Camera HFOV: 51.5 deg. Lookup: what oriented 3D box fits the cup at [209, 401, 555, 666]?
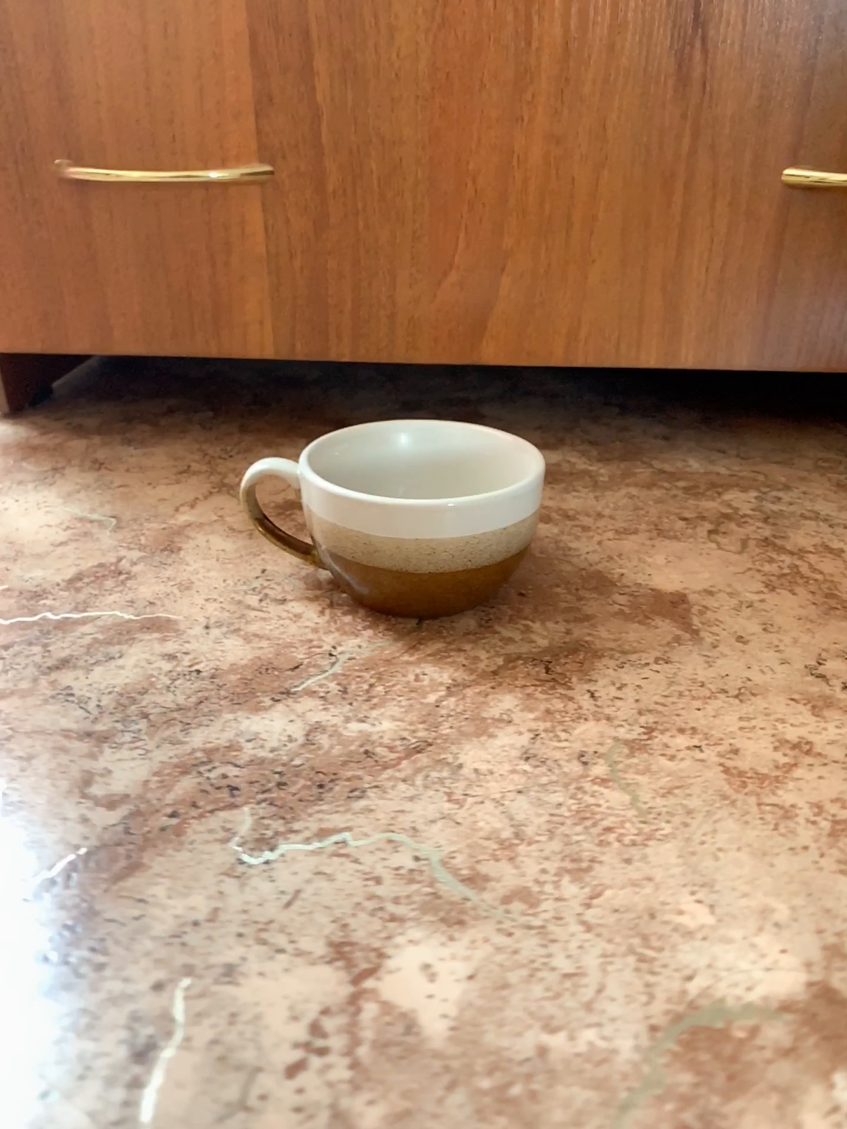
[{"bbox_3d":[-0.010,-0.017,0.347,0.115,0.059,0.091,6,29,8],"label":"cup"}]
